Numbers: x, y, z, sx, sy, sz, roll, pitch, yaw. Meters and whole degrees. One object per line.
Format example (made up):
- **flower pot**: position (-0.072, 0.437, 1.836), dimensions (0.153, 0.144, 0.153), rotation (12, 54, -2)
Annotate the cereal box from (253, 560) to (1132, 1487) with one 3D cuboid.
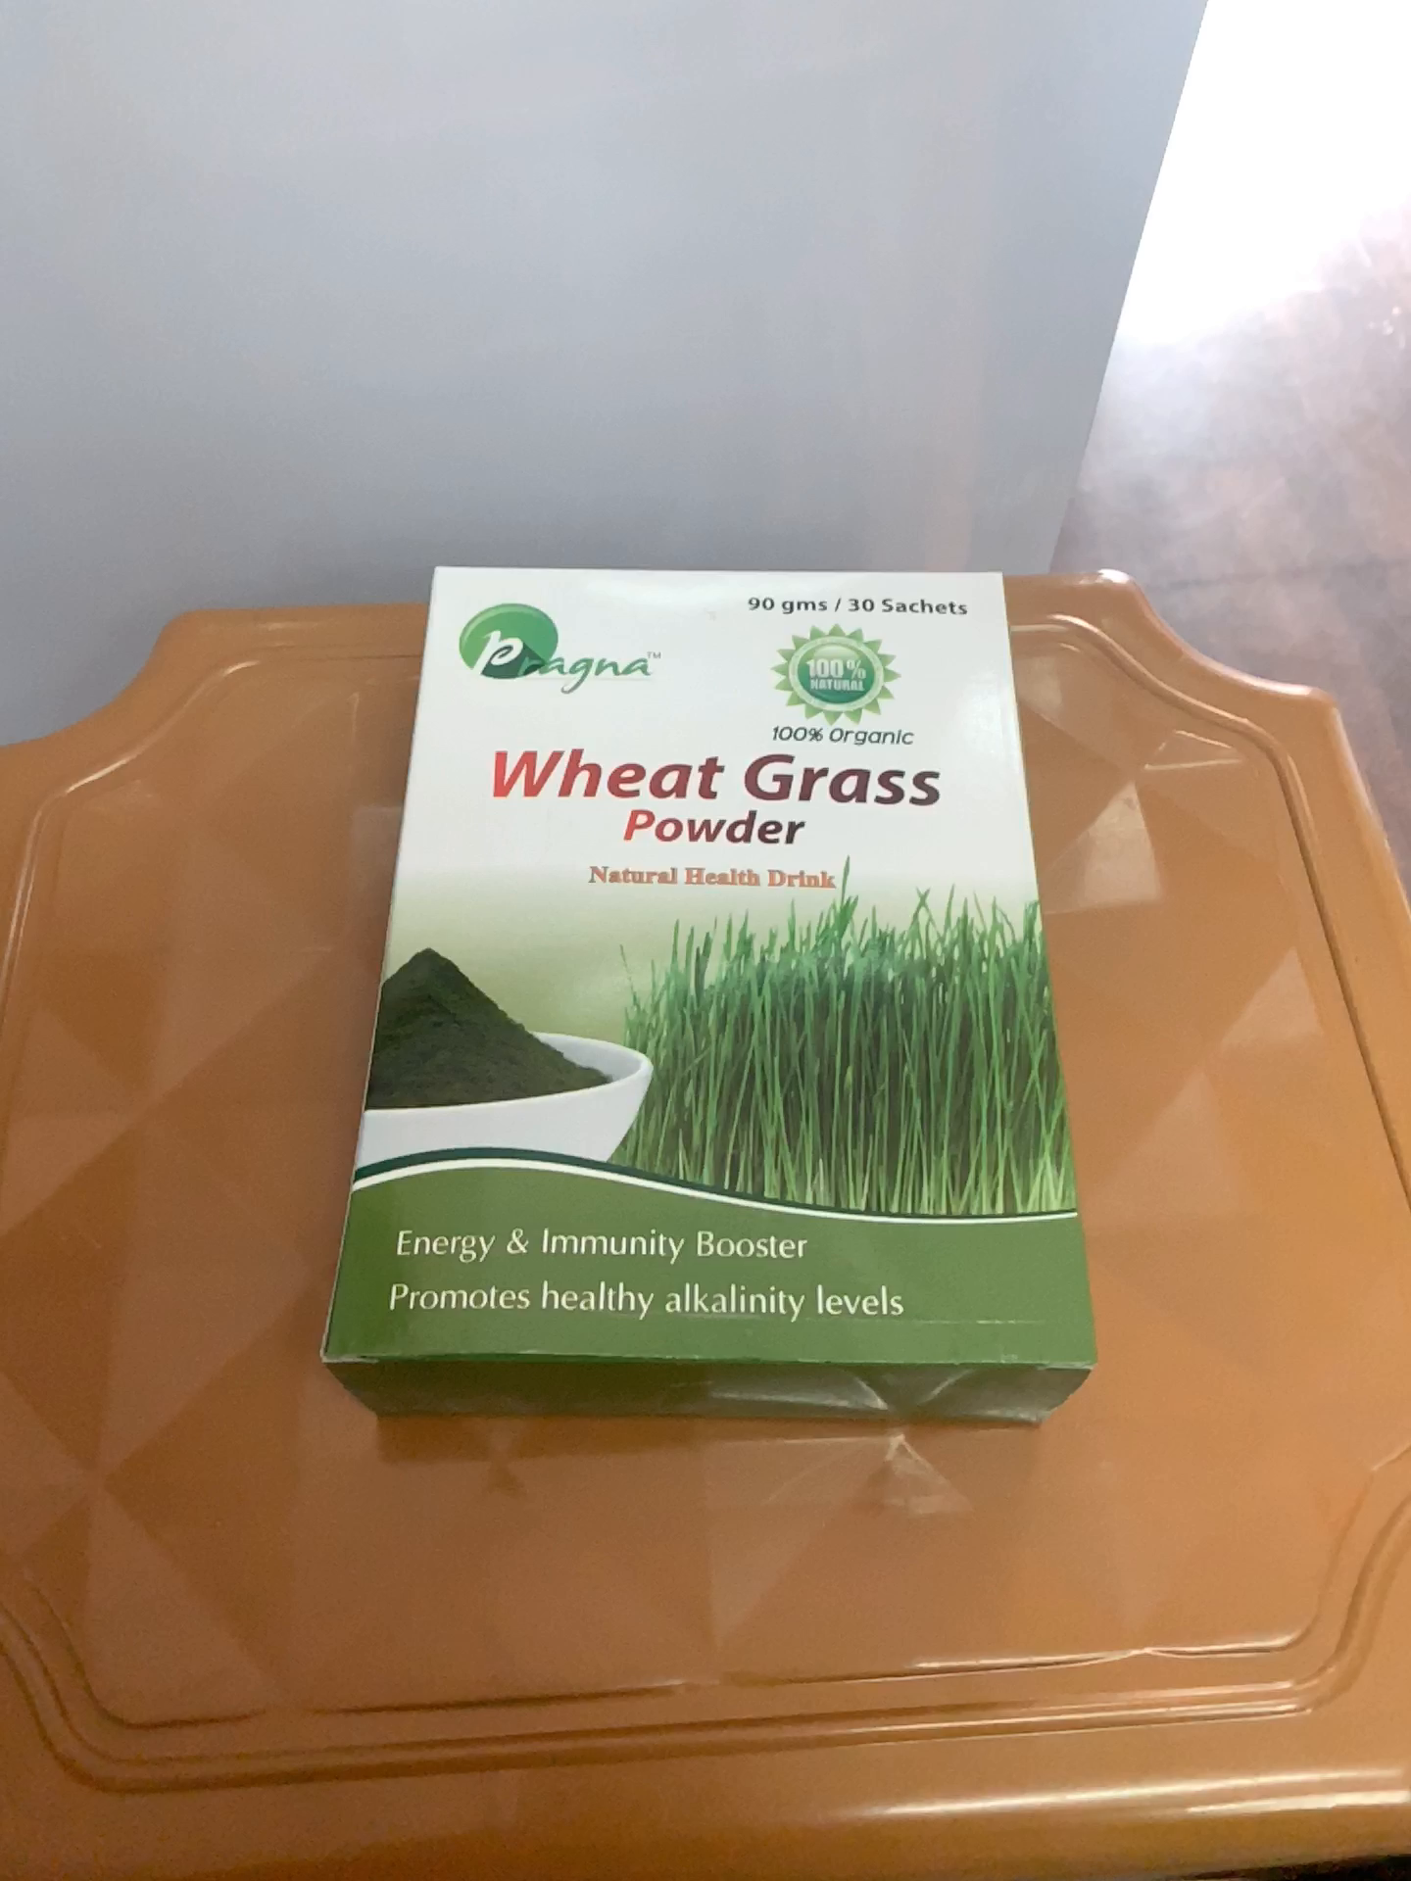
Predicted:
- **cereal box**: position (-0.001, 0.010, 0.278), dimensions (0.130, 0.050, 0.170), rotation (1, 61, 1)
